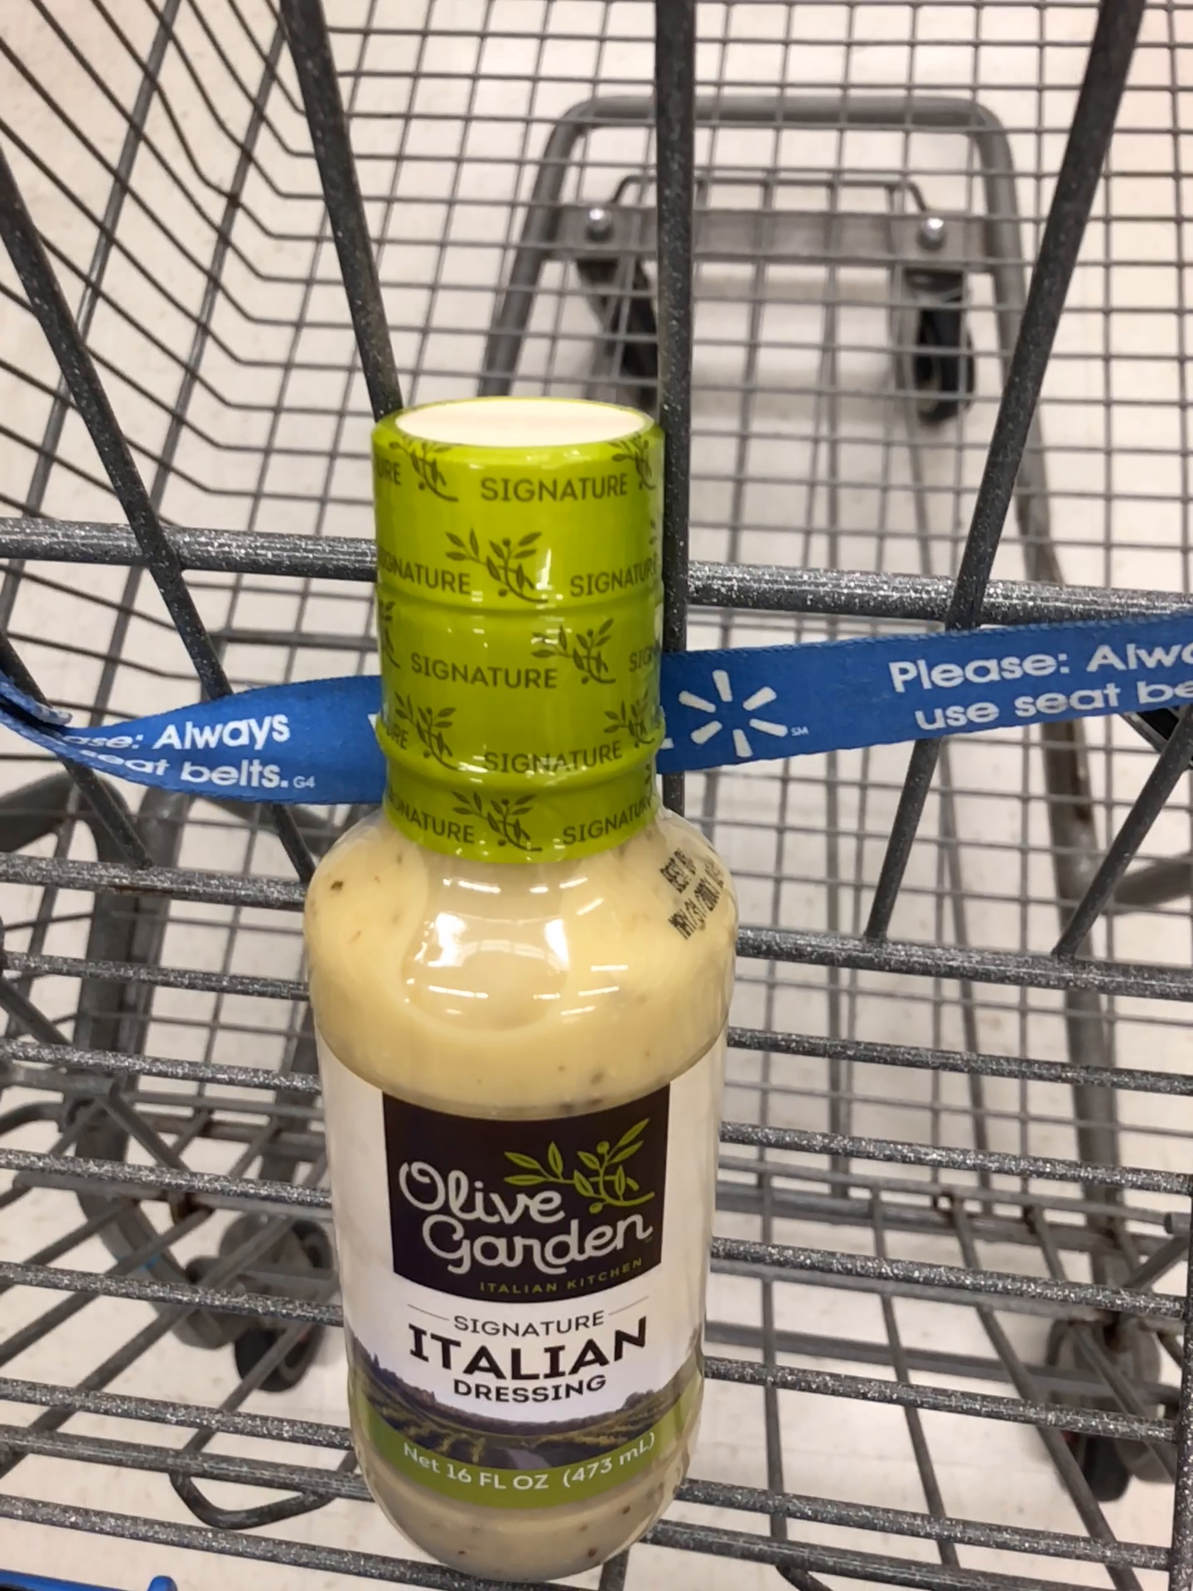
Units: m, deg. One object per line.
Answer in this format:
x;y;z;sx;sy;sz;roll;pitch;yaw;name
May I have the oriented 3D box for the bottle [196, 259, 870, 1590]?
-0.012;0.027;0.223;0.080;0.070;0.210;-1;108;-7;bottle
